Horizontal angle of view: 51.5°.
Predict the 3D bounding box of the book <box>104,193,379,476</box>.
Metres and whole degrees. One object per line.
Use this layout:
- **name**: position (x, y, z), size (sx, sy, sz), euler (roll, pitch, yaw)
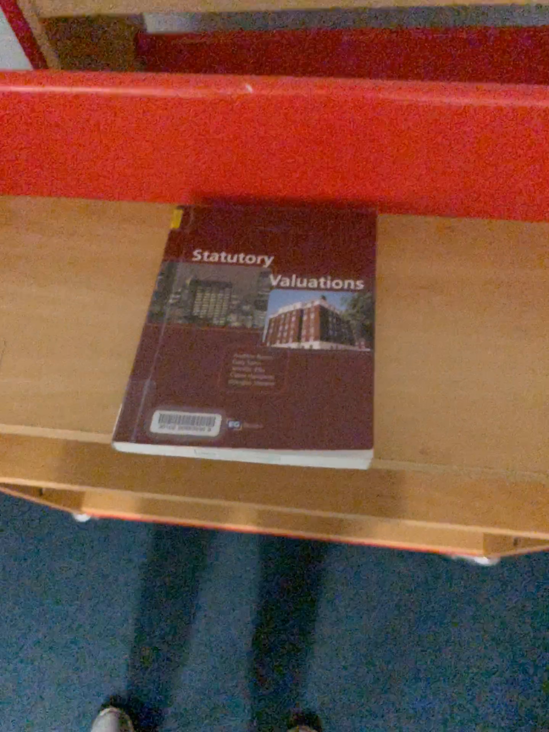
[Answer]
- **book**: position (-0.012, -0.042, 0.471), size (0.188, 0.027, 0.253), euler (4, 58, 5)
